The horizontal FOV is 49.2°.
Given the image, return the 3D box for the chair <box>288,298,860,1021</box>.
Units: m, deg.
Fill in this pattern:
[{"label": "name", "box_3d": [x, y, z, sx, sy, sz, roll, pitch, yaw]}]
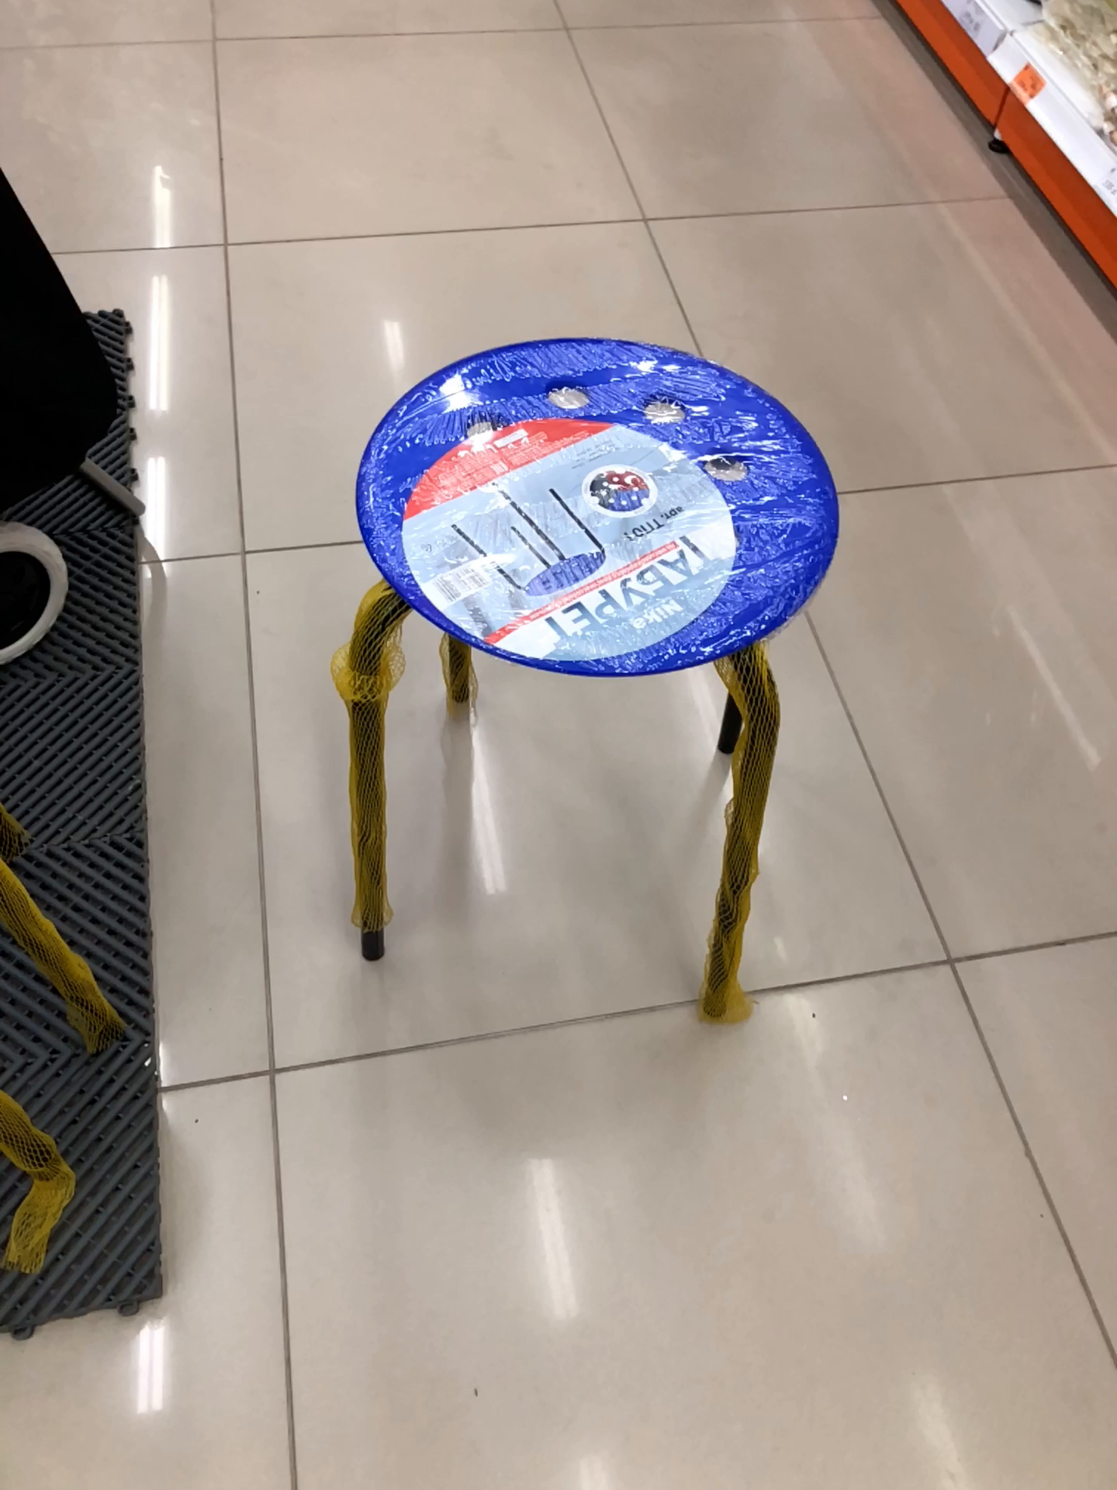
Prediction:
[{"label": "chair", "box_3d": [0.019, -0.046, 0.950, 0.323, 0.426, 0.322, 8, 53, 2]}]
